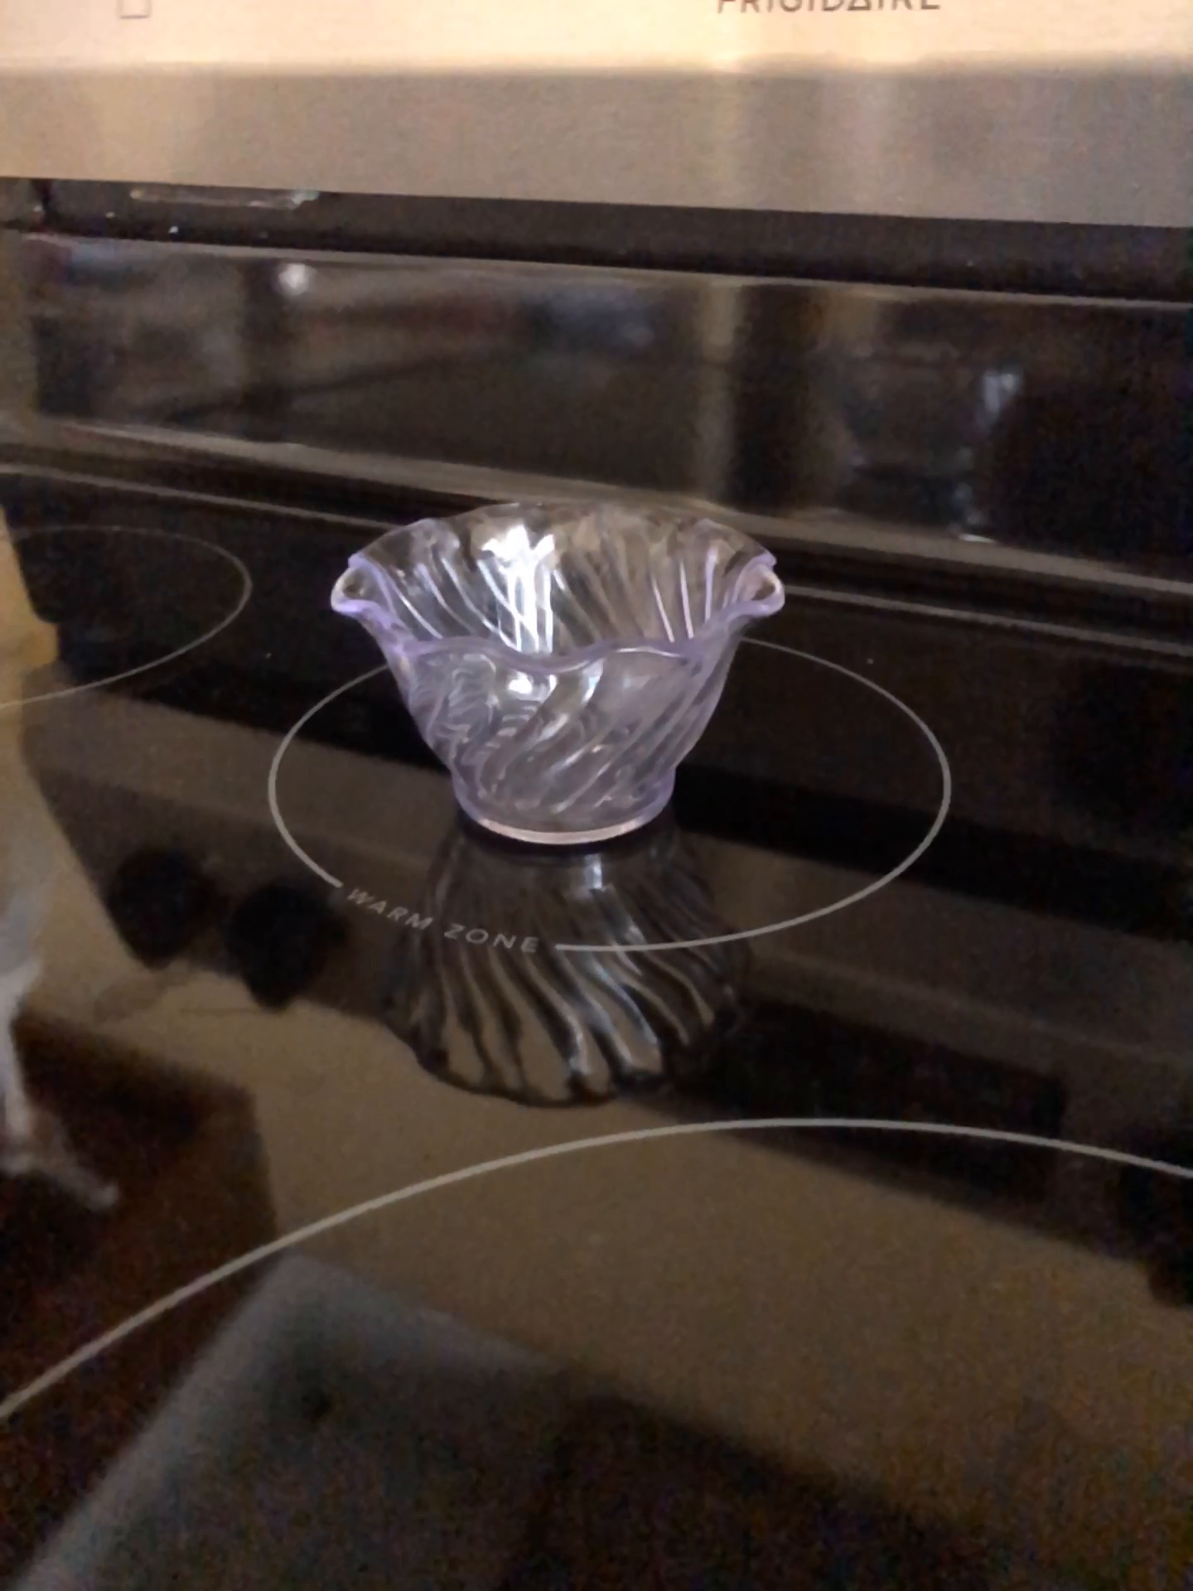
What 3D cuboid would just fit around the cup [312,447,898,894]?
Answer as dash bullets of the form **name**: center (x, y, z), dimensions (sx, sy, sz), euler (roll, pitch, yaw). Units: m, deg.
- **cup**: center (-0.005, -0.034, 0.291), dimensions (0.101, 0.052, 0.100), euler (-1, 29, 0)
